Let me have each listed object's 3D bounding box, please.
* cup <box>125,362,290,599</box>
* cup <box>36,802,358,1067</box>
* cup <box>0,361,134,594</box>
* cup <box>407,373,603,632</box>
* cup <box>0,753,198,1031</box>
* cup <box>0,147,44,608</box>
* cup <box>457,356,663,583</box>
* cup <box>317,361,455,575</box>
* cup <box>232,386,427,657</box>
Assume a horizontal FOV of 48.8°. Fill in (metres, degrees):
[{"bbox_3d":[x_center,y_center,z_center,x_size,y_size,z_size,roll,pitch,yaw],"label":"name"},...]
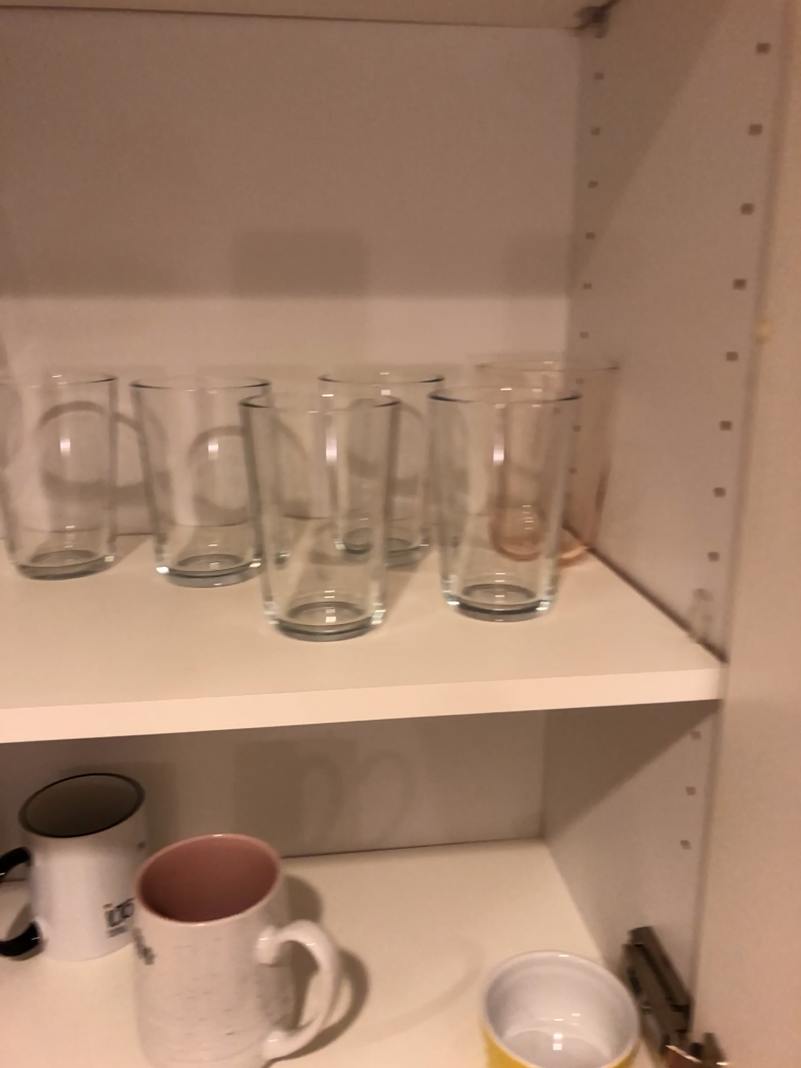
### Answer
[{"bbox_3d":[-0.111,-0.036,0.516,0.080,0.120,0.090,-3,15,-12],"label":"cup"},{"bbox_3d":[-0.107,0.235,0.480,0.140,0.110,0.090,8,16,27],"label":"cup"},{"bbox_3d":[-0.219,-0.041,0.564,0.080,0.130,0.090,-3,15,-12],"label":"cup"},{"bbox_3d":[0.051,-0.021,0.470,0.080,0.120,0.080,0,14,0],"label":"cup"},{"bbox_3d":[-0.222,0.230,0.593,0.090,0.090,0.140,10,18,32],"label":"cup"},{"bbox_3d":[-0.303,-0.096,0.557,0.110,0.259,0.090,-3,15,-13],"label":"cup"},{"bbox_3d":[0.092,-0.045,0.544,0.090,0.120,0.100,-3,15,-11],"label":"cup"},{"bbox_3d":[-0.011,-0.045,0.558,0.070,0.120,0.080,-3,15,-12],"label":"cup"},{"bbox_3d":[-0.038,-0.012,0.433,0.080,0.110,0.090,-3,15,-12],"label":"cup"}]
